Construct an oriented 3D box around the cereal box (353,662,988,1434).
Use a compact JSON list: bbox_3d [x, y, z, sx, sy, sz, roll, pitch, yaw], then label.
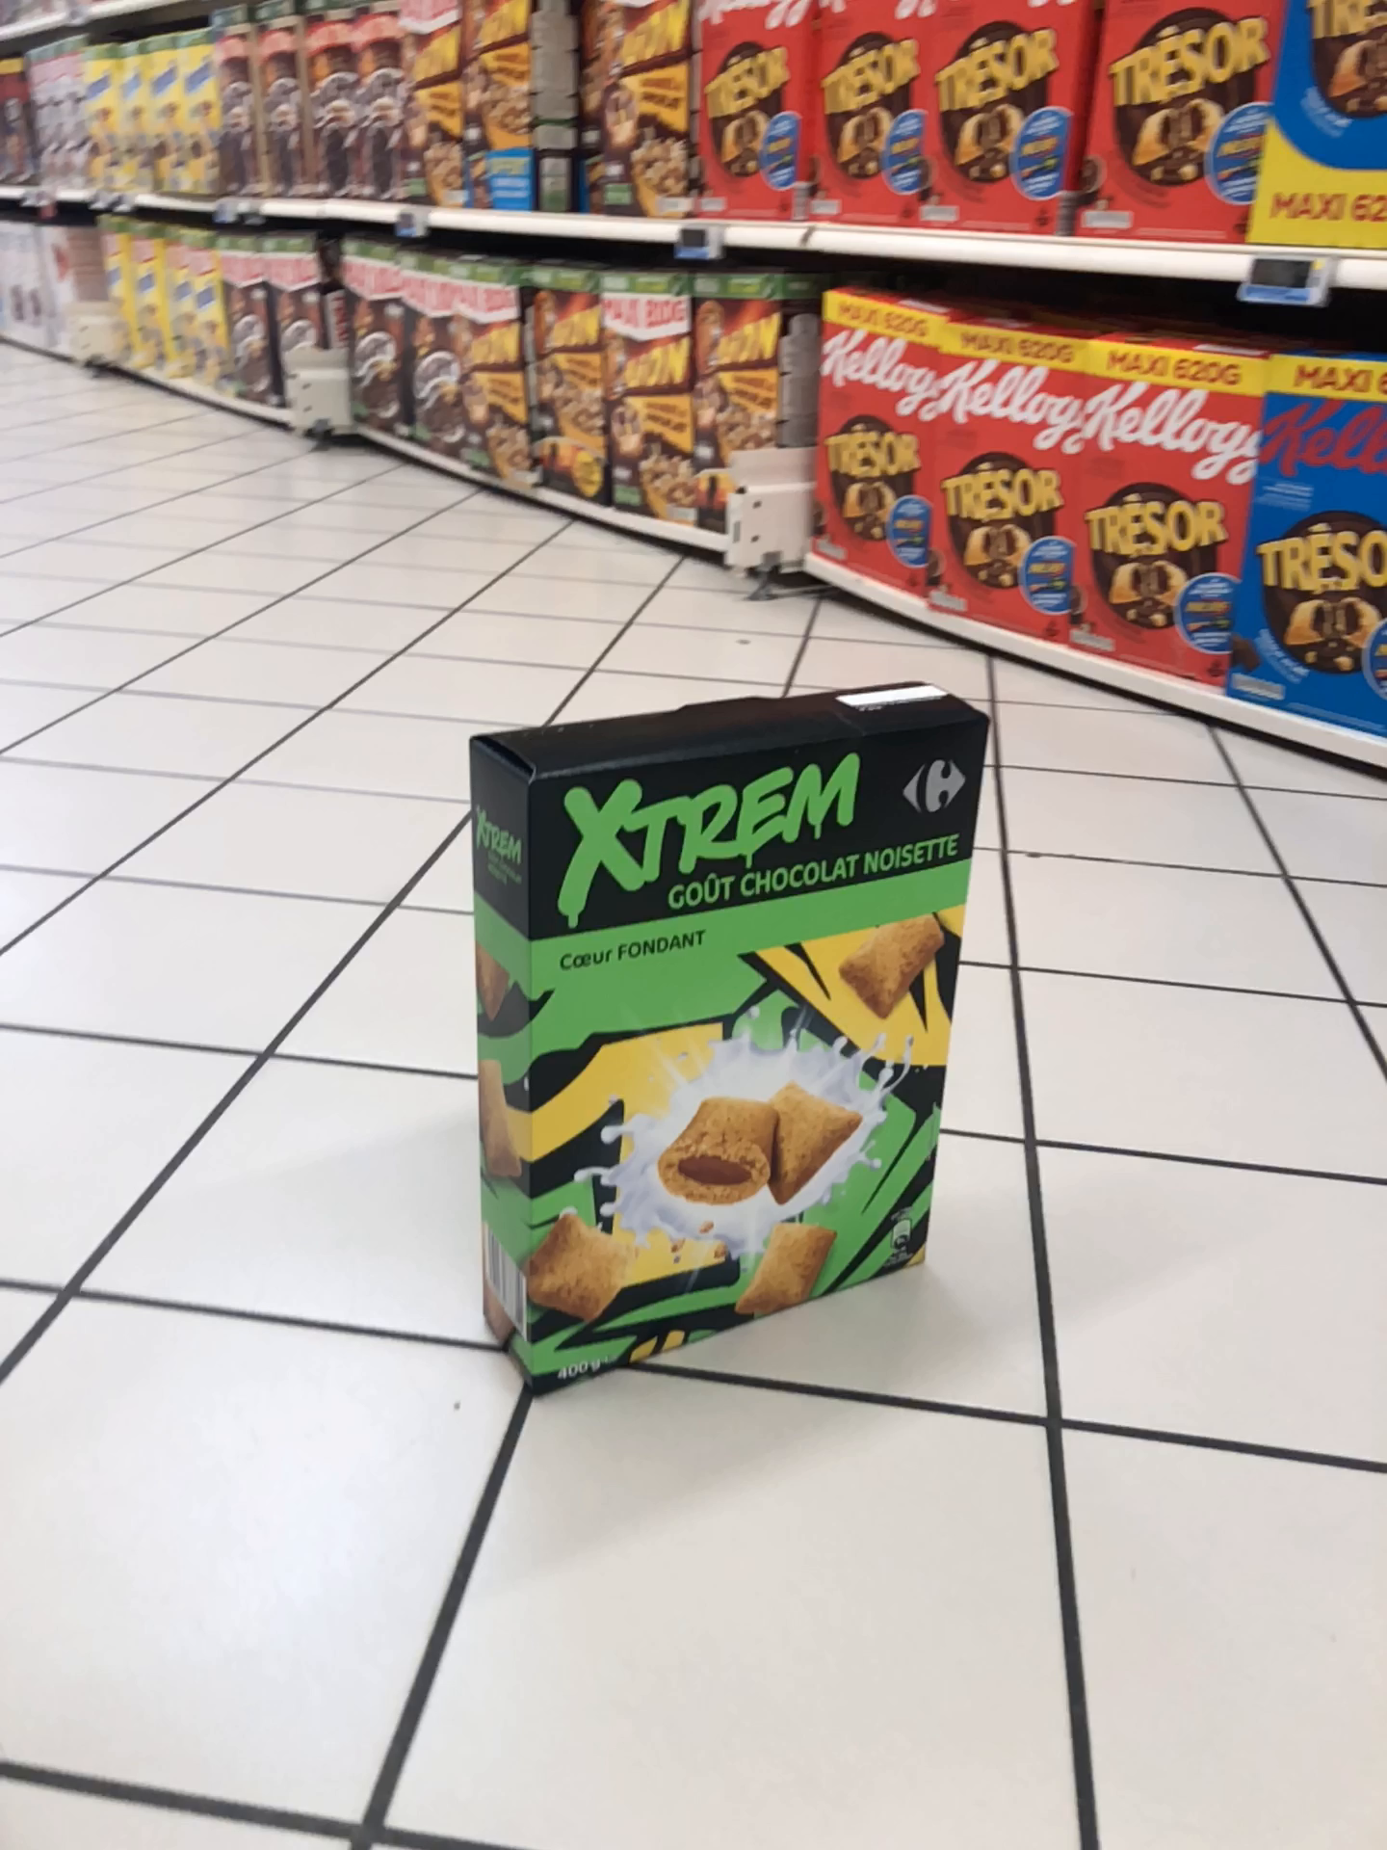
[{"bbox_3d":[-0.011,0.038,0.571,0.201,0.239,0.090,-10,27,-27],"label":"cereal box"}]
